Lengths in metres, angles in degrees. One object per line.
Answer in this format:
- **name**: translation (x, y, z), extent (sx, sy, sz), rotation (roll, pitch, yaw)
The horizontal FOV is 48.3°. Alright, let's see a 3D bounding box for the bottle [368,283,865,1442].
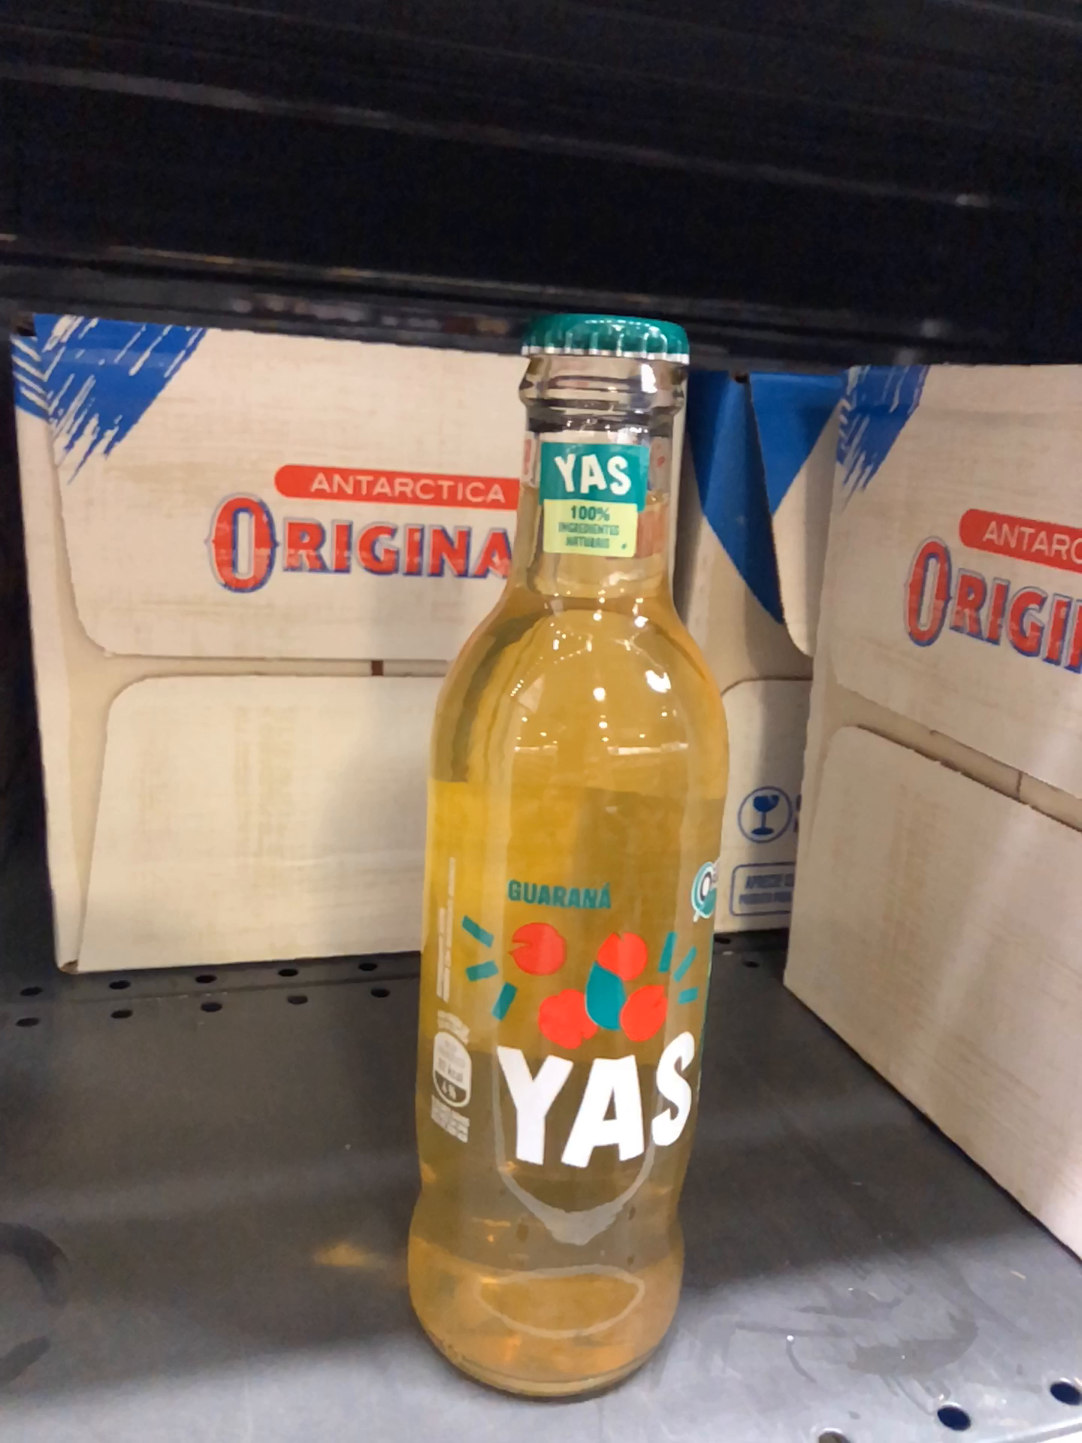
- **bottle**: translation (0.006, 0.027, 0.228), extent (0.060, 0.199, 0.060), rotation (4, 14, -1)
